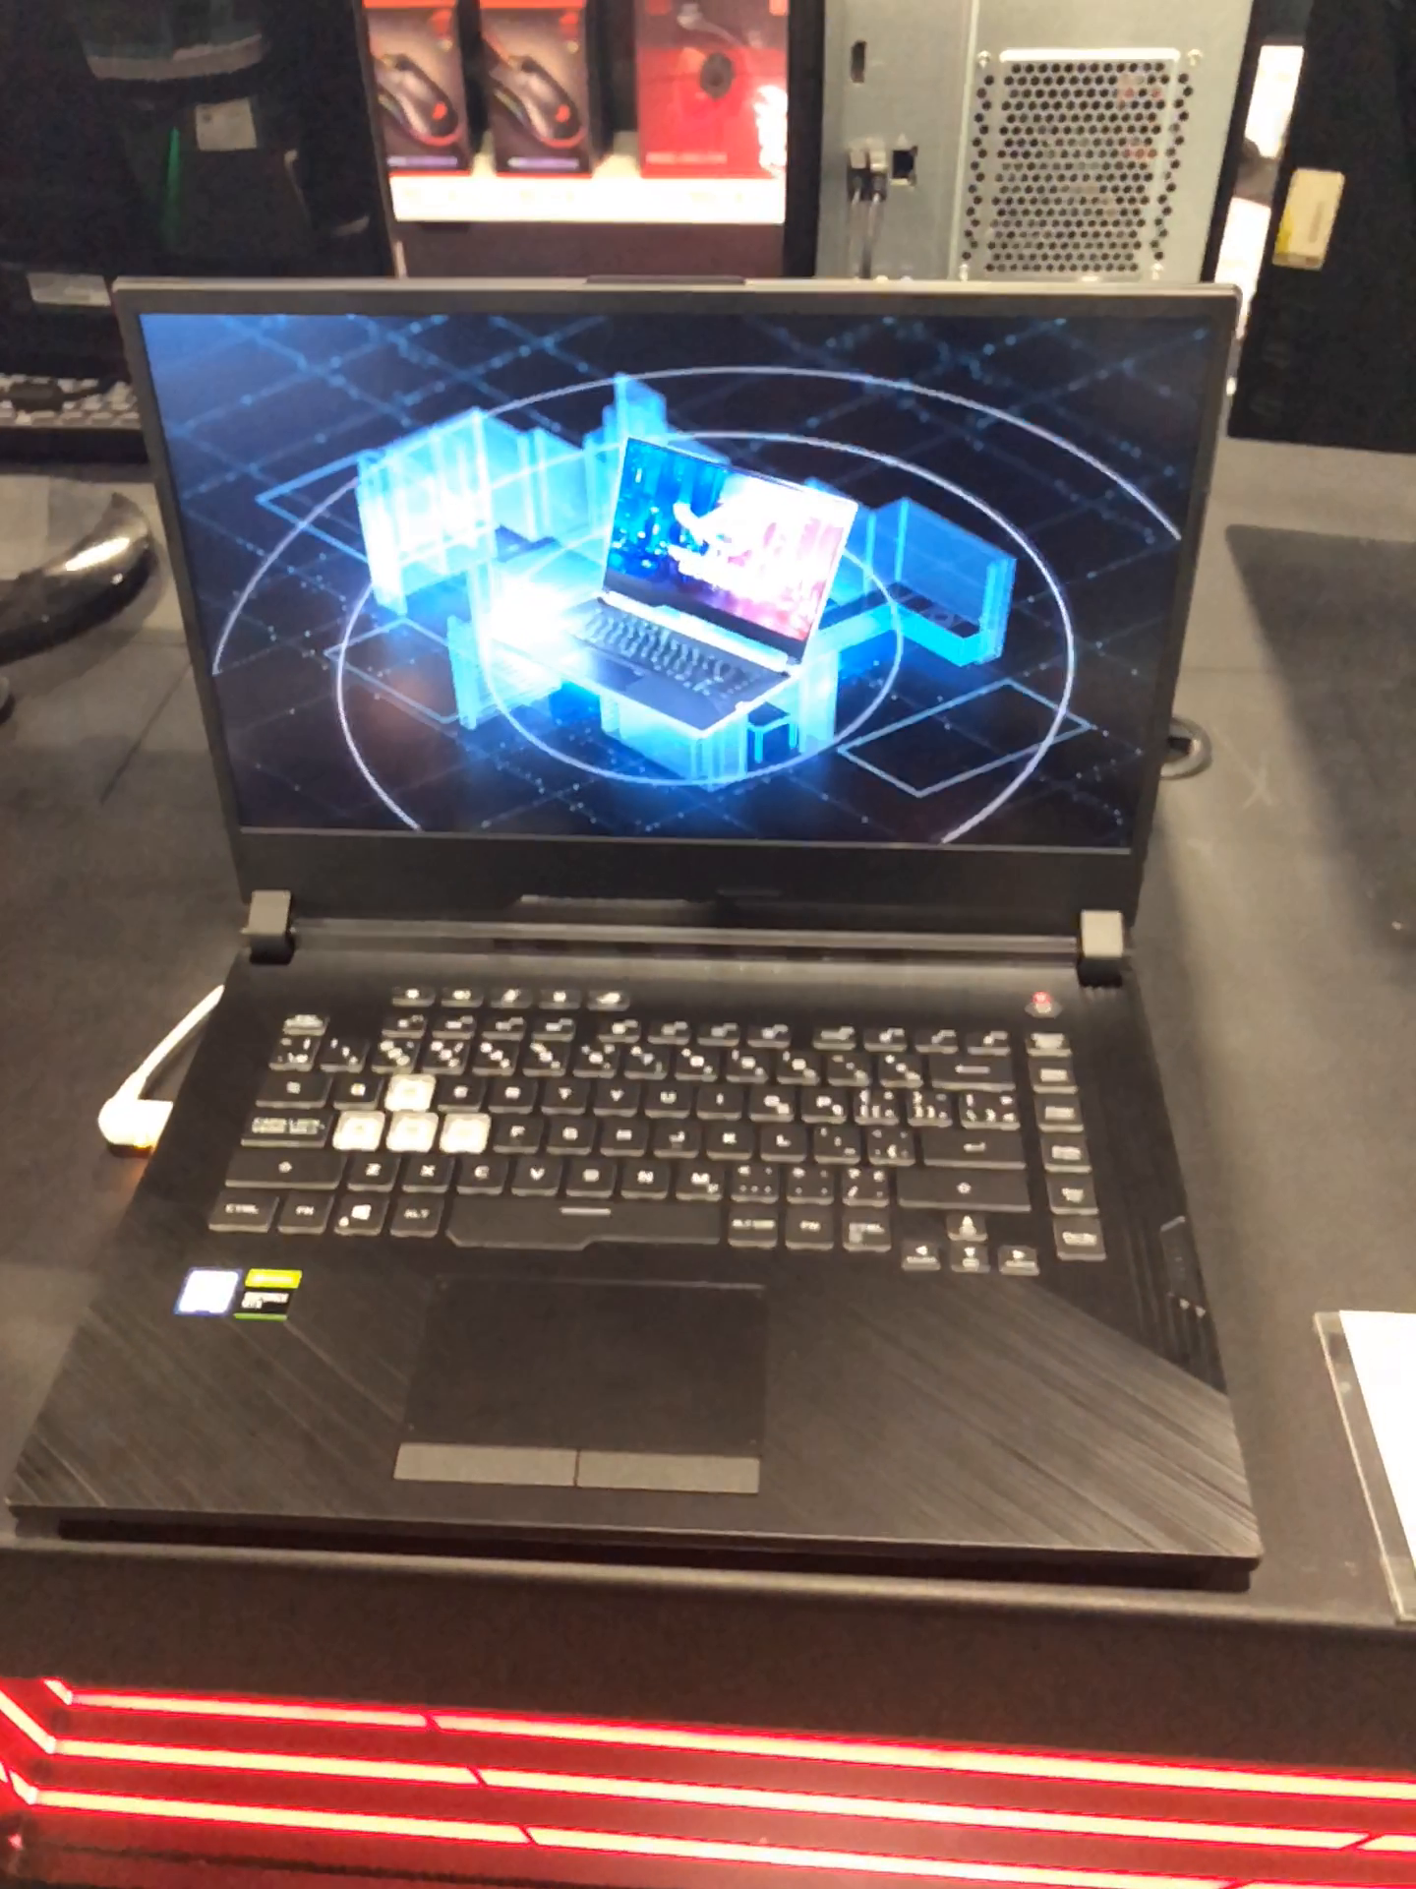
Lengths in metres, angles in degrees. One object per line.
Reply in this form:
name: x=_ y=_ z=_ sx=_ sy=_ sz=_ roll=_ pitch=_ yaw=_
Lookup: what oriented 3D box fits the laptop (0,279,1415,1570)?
laptop: x=-0.020 y=-0.022 z=0.462 sx=0.350 sy=0.243 sz=0.281 roll=2 pitch=40 yaw=3
